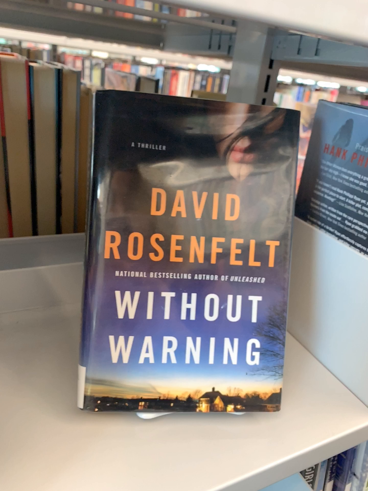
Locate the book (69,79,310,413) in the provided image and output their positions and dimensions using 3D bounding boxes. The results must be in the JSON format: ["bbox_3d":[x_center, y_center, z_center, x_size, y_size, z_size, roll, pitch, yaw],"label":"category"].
[{"bbox_3d":[0.003,0.007,0.292,0.157,0.230,0.035,4,3,-8],"label":"book"}]
